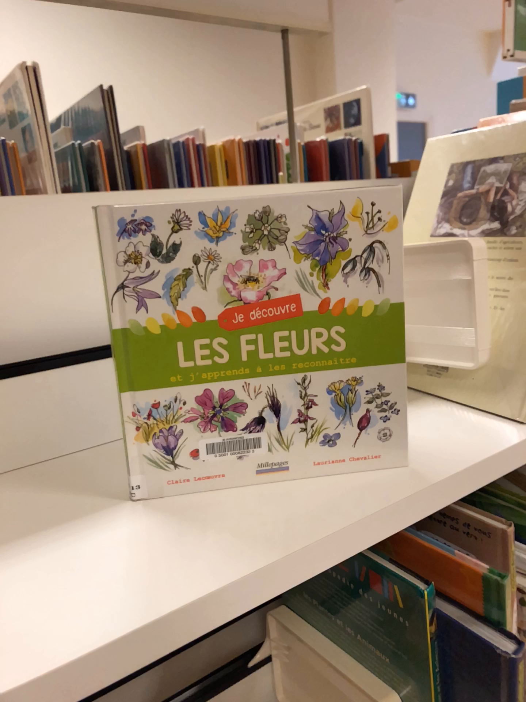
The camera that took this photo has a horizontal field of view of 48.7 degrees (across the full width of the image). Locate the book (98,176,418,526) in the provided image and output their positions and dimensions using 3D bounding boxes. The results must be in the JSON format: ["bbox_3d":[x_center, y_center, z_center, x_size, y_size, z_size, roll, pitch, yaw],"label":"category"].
[{"bbox_3d":[-0.004,-0.011,0.445,0.208,0.215,0.104,-8,11,-14],"label":"book"}]
